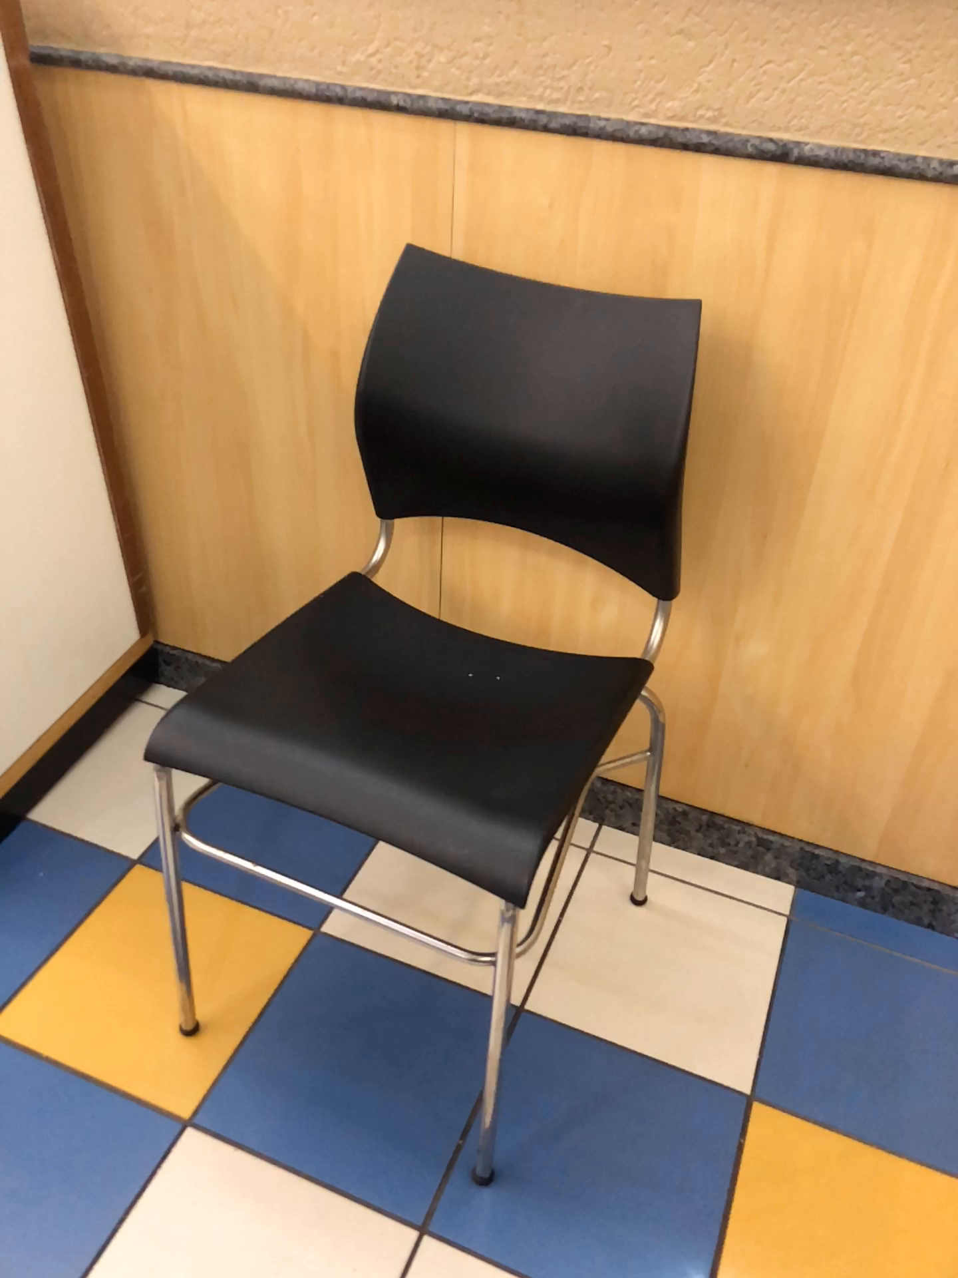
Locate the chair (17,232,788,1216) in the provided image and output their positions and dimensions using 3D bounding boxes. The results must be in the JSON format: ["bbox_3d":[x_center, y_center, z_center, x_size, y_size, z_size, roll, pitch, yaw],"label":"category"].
[{"bbox_3d":[-0.045,0.081,1.223,0.510,0.873,0.554,17,38,19],"label":"chair"}]
